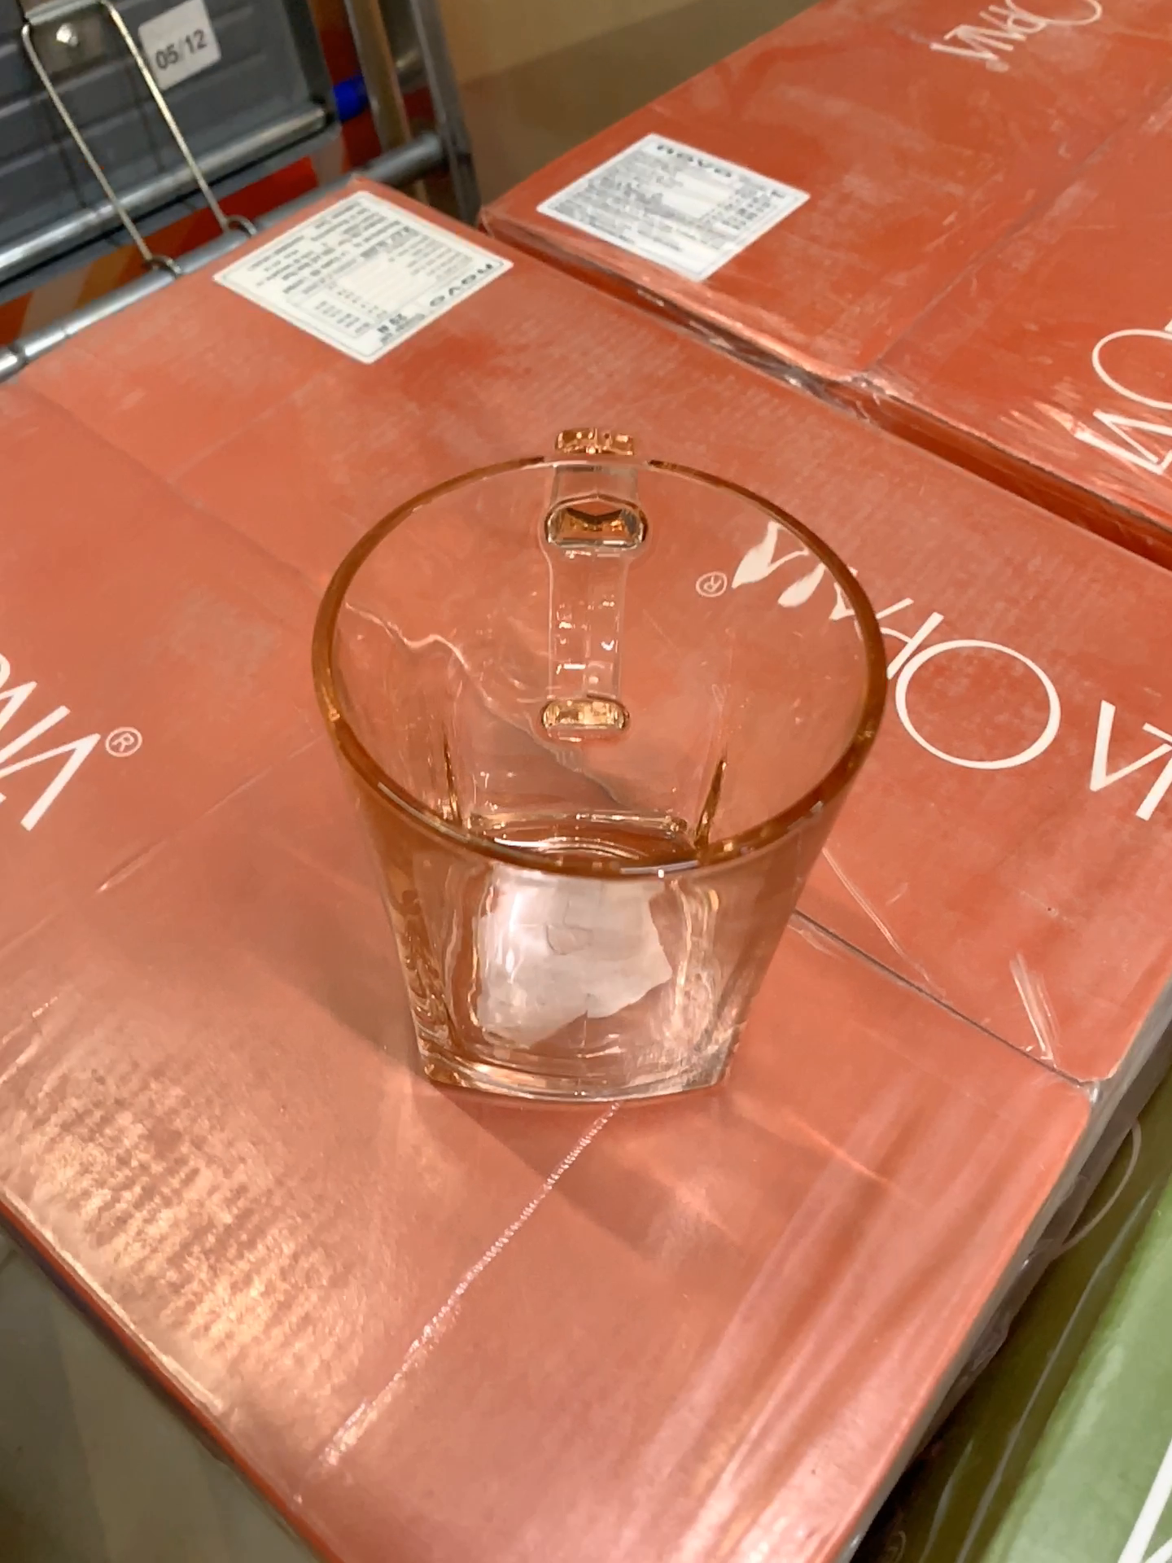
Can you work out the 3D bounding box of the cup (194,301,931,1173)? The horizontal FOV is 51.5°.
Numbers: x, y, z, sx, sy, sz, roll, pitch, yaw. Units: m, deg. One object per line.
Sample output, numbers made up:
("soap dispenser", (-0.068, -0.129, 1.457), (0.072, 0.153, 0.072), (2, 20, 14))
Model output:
("cup", (-0.004, -0.002, 0.206), (0.080, 0.110, 0.100), (1, 54, -2))
